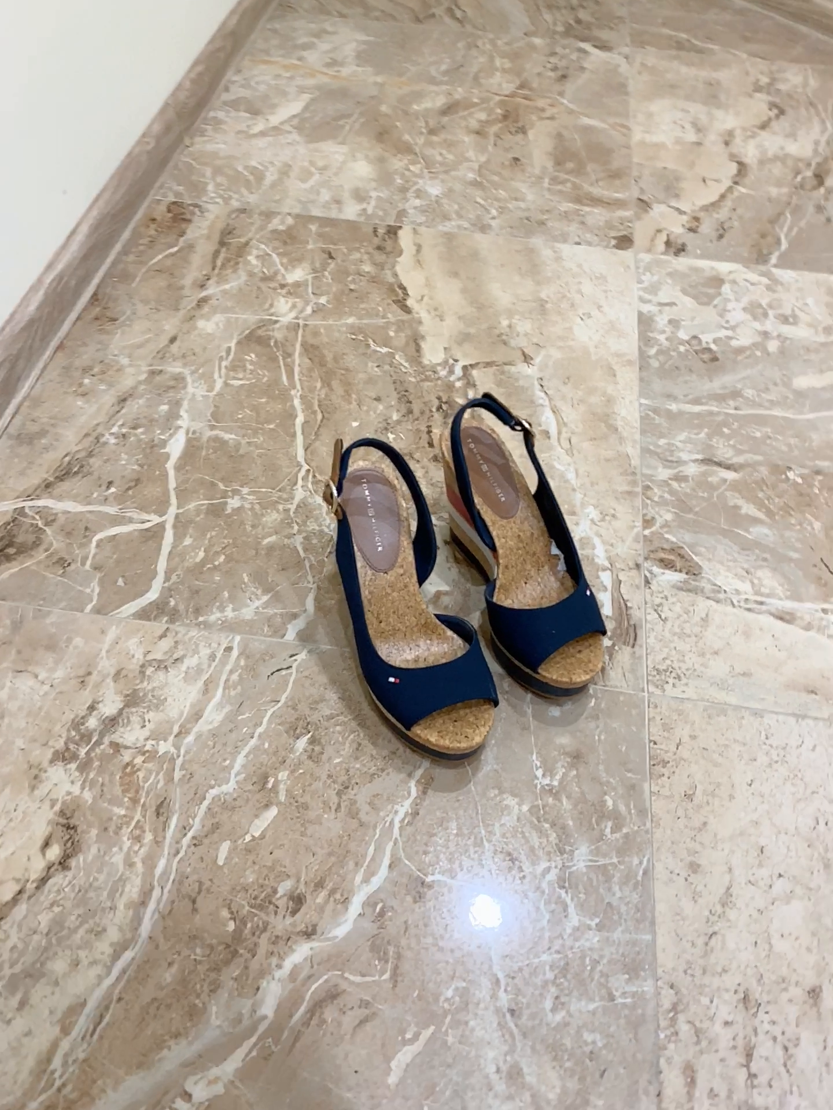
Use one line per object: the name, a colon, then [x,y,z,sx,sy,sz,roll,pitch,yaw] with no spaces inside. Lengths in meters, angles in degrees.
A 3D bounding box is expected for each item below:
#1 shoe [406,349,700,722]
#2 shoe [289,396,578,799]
shoe: [0.081,-0.017,0.612,0.090,0.145,0.211,-19,55,-18]
shoe: [0.000,0.025,0.571,0.090,0.145,0.211,-19,55,-18]
